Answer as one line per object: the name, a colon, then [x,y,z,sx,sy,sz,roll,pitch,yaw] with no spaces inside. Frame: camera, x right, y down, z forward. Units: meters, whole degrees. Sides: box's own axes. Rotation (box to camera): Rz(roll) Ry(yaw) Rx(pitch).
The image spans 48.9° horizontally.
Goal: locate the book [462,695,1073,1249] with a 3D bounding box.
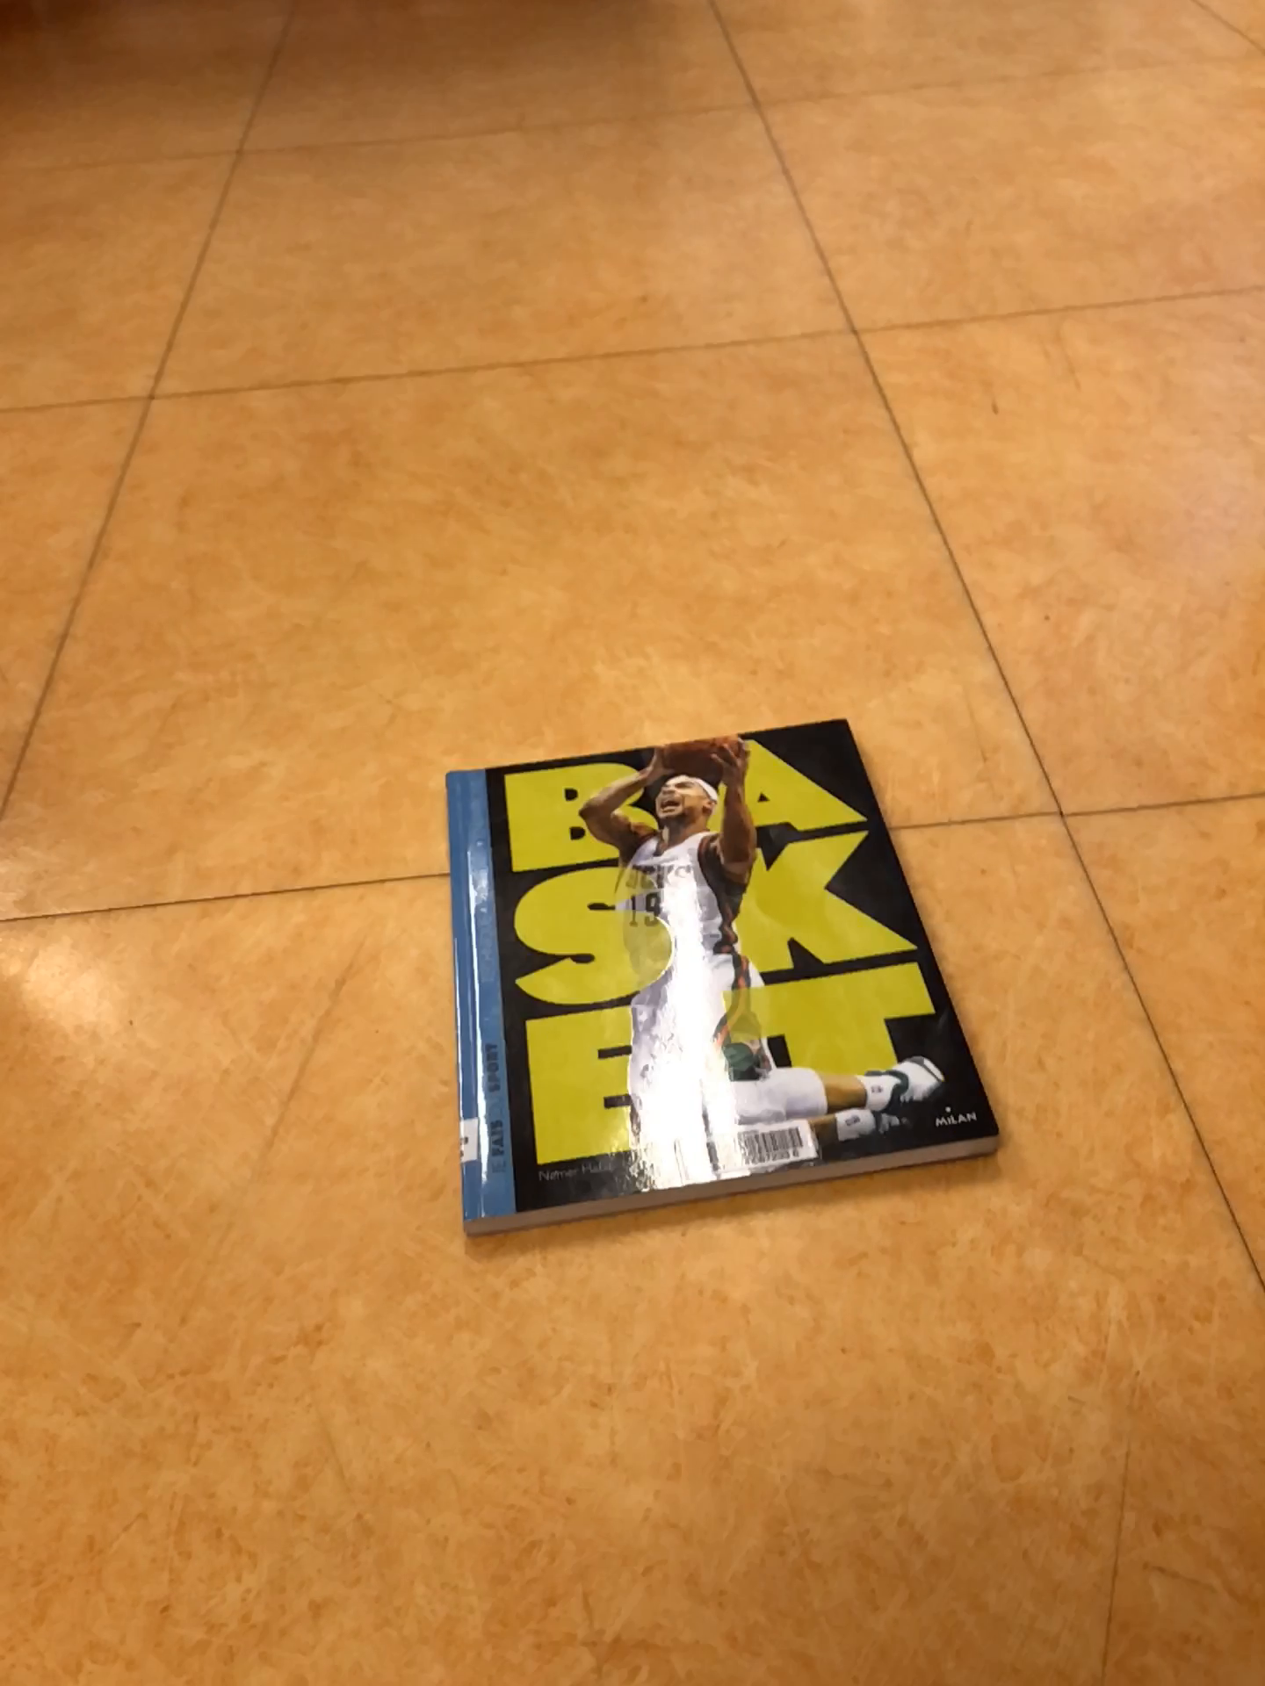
book: [0.037,0.035,0.570,0.200,0.020,0.246,-8,44,-3]
